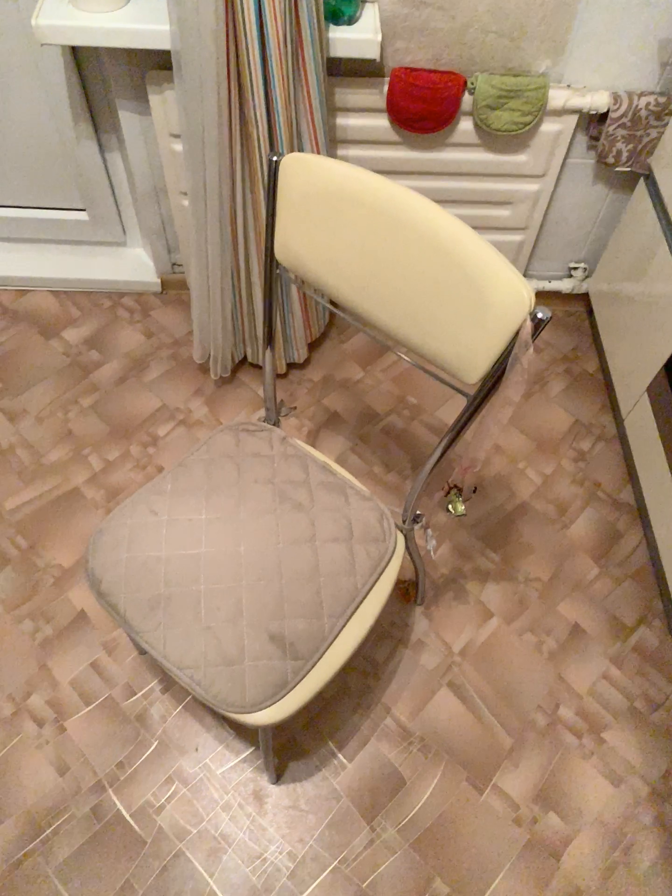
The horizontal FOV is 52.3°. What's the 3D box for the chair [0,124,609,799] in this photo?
[{"bbox_3d":[-0.059,0.117,0.983,0.385,0.855,0.492,36,63,18],"label":"chair"}]
